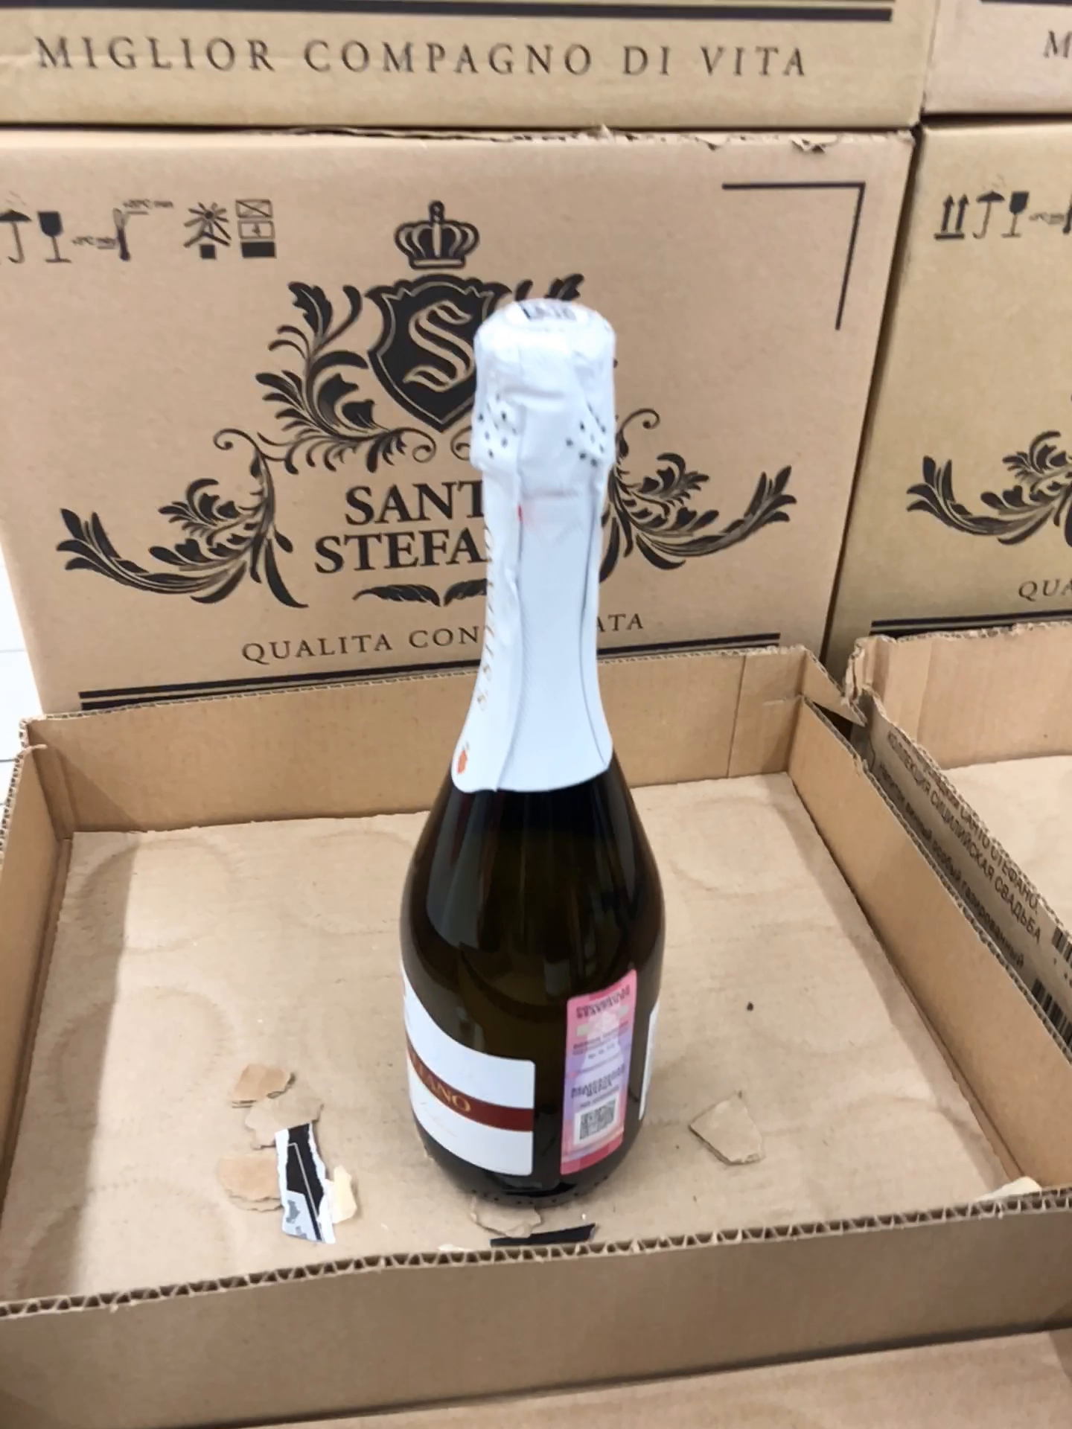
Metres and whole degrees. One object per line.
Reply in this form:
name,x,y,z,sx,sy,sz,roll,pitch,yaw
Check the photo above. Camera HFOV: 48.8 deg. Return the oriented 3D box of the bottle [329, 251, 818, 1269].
bottle,0.002,0.033,0.363,0.090,0.308,0.091,0,35,0
